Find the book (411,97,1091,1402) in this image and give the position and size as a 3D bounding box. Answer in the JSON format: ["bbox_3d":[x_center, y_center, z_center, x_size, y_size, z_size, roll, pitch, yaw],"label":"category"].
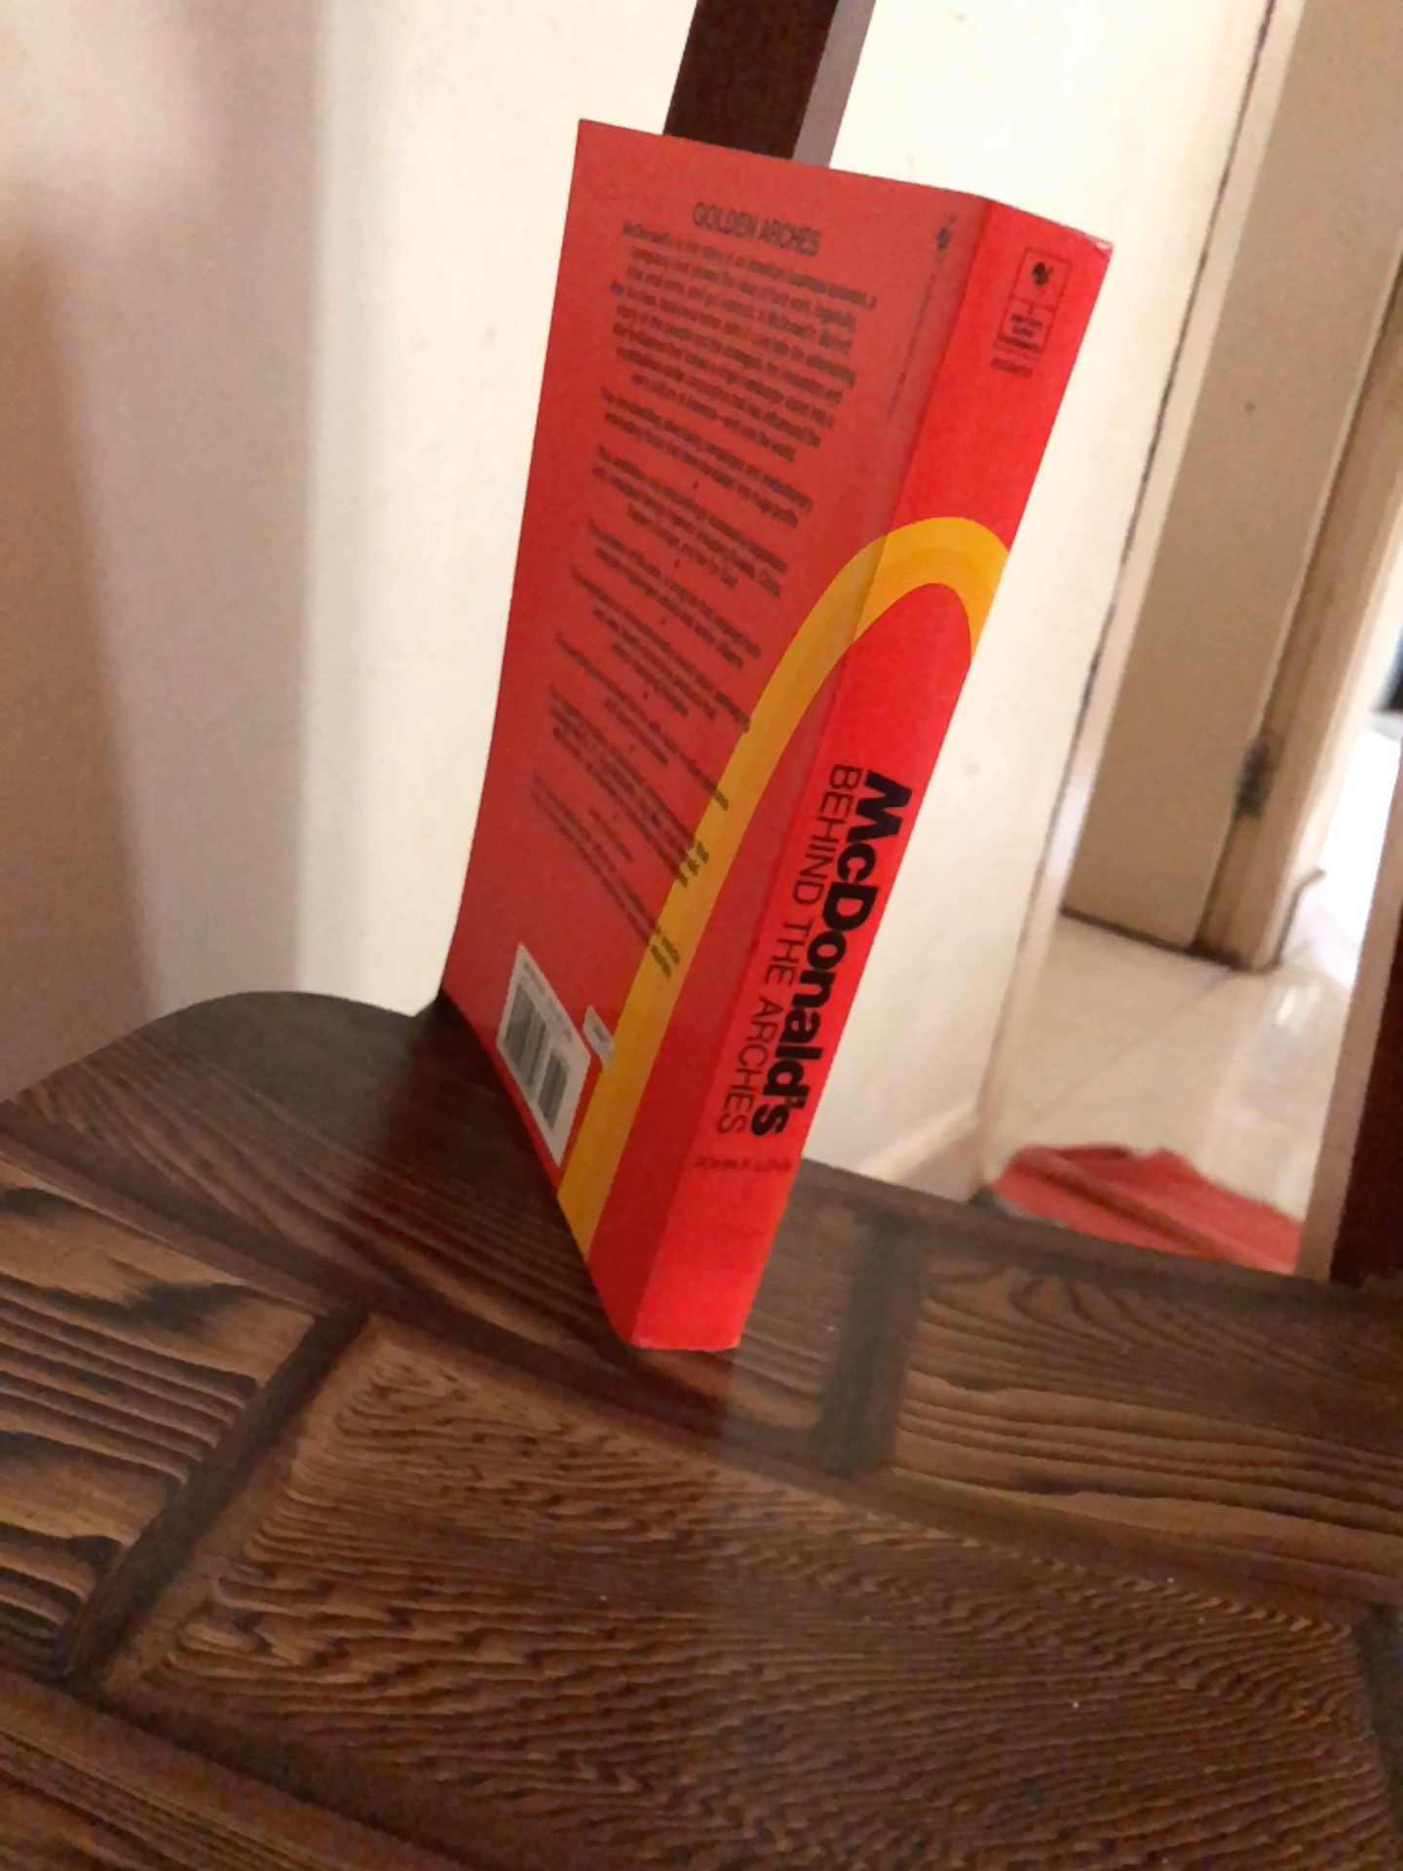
[{"bbox_3d":[-0.013,-0.053,0.364,0.040,0.239,0.191,5,21,-23],"label":"book"}]
